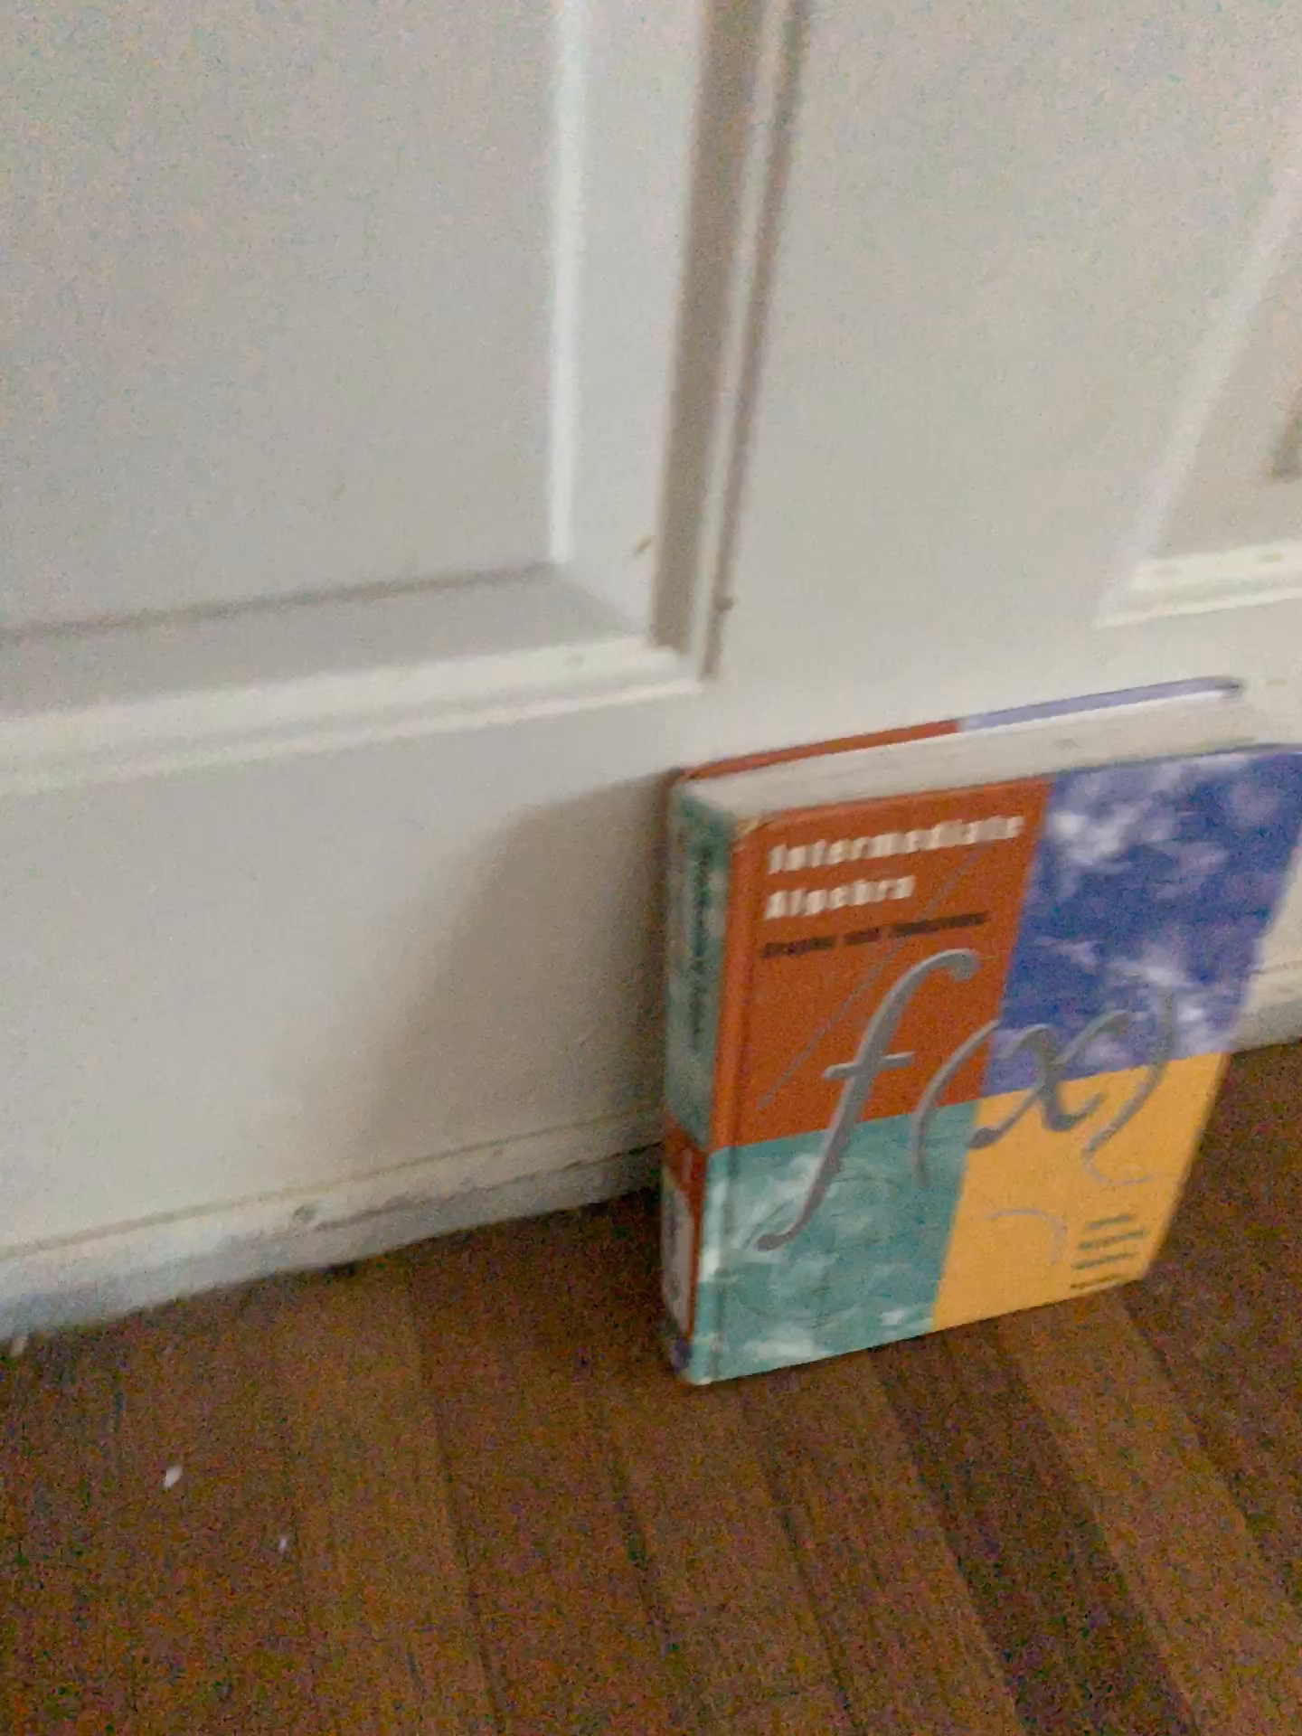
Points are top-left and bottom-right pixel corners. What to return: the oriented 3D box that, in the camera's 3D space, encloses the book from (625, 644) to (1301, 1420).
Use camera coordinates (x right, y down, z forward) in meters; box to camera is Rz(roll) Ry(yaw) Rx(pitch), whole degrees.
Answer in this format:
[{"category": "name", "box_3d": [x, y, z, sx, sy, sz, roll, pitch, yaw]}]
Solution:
[{"category": "book", "box_3d": [0.113, 0.063, 0.460, 0.230, 0.249, 0.060, -8, 34, -11]}]
